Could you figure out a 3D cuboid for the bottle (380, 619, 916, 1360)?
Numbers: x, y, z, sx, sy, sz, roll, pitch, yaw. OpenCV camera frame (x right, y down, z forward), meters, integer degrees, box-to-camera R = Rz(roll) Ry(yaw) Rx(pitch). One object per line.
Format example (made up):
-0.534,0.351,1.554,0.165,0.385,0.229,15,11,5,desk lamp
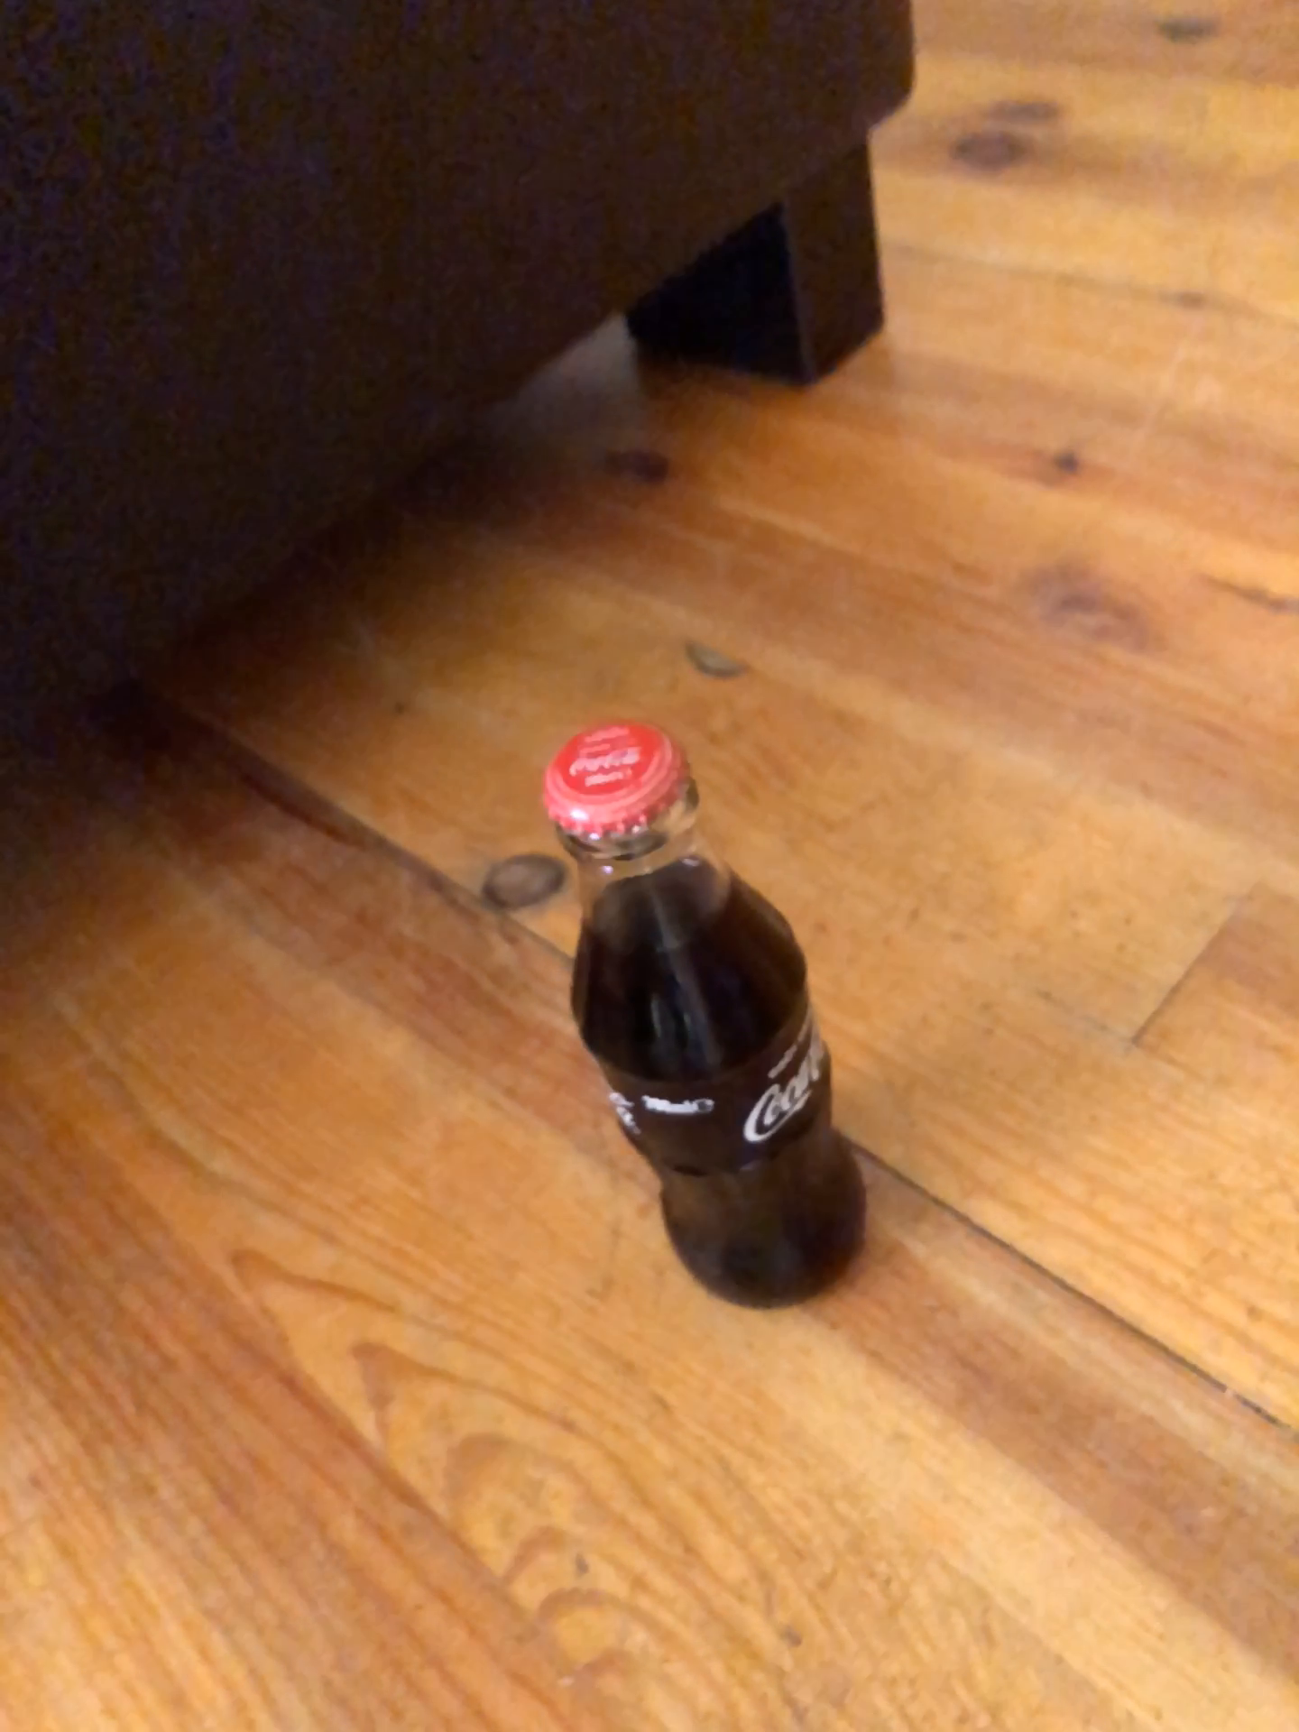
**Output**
0.011,0.035,0.321,0.060,0.169,0.060,-9,46,10,bottle
